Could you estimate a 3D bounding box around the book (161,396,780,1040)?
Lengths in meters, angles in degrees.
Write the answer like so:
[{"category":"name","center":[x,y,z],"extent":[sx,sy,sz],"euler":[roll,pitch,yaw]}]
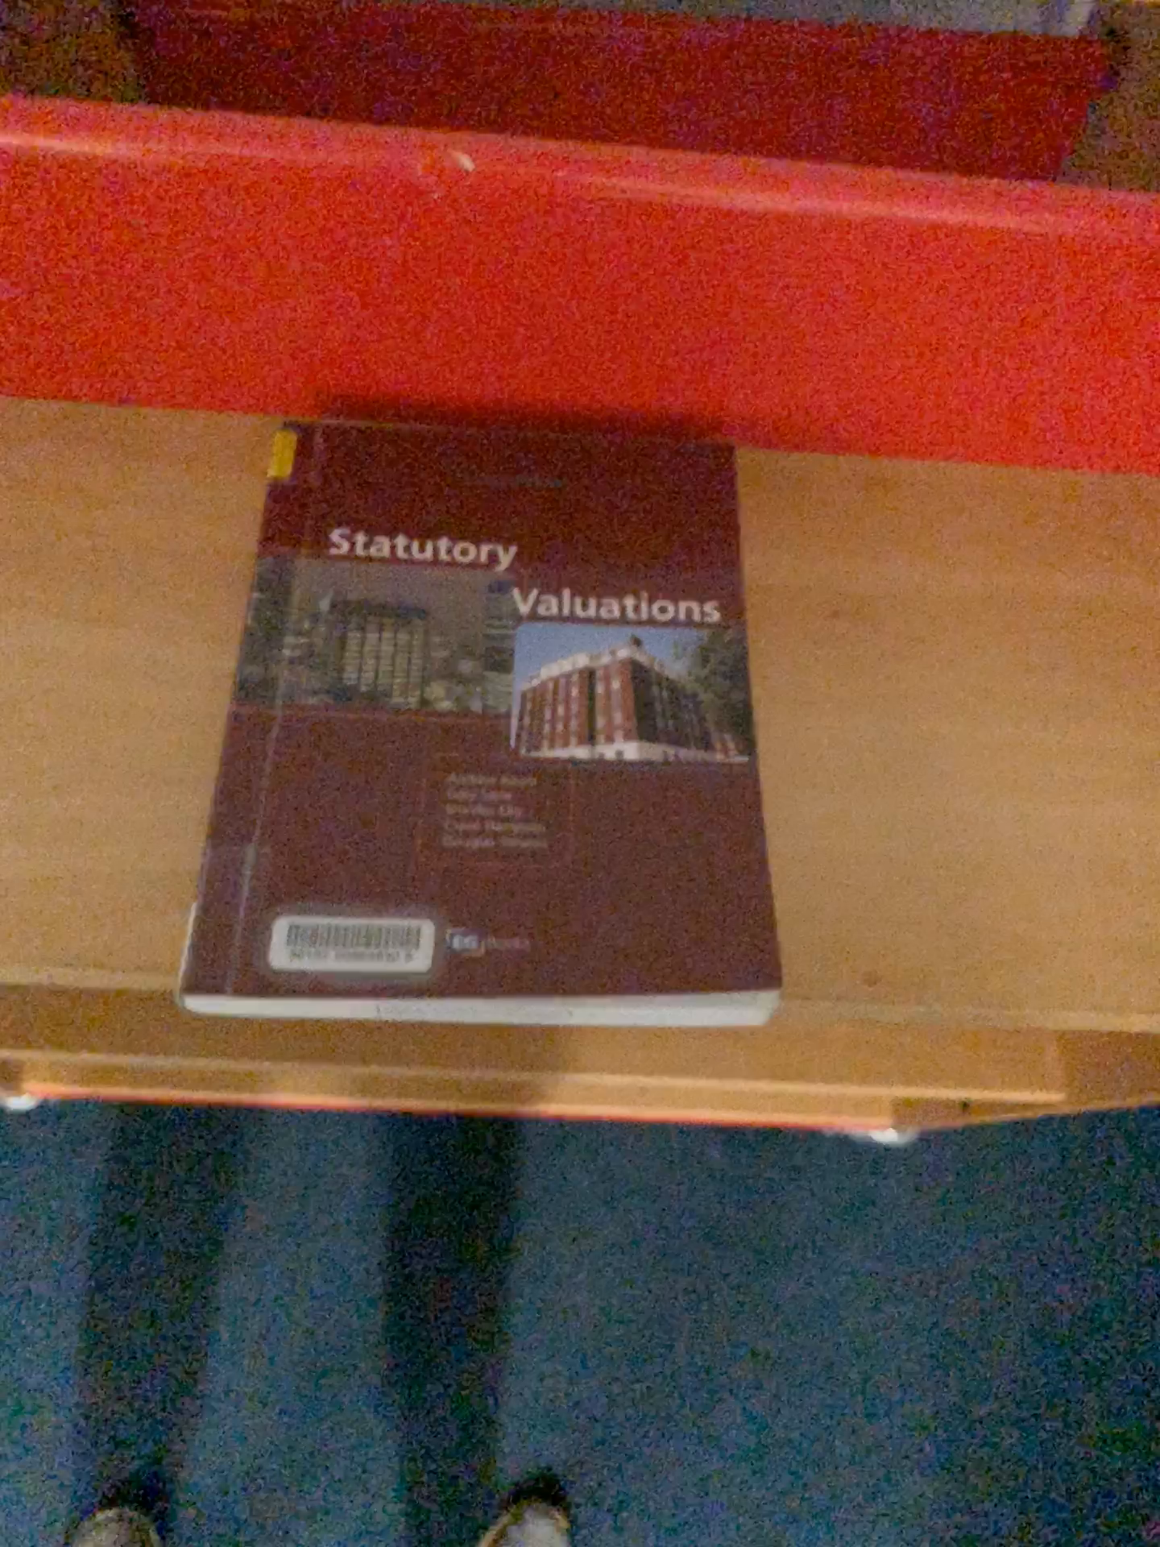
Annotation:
[{"category":"book","center":[-0.032,-0.033,0.443],"extent":[0.188,0.027,0.253],"euler":[3,60,-4]}]
